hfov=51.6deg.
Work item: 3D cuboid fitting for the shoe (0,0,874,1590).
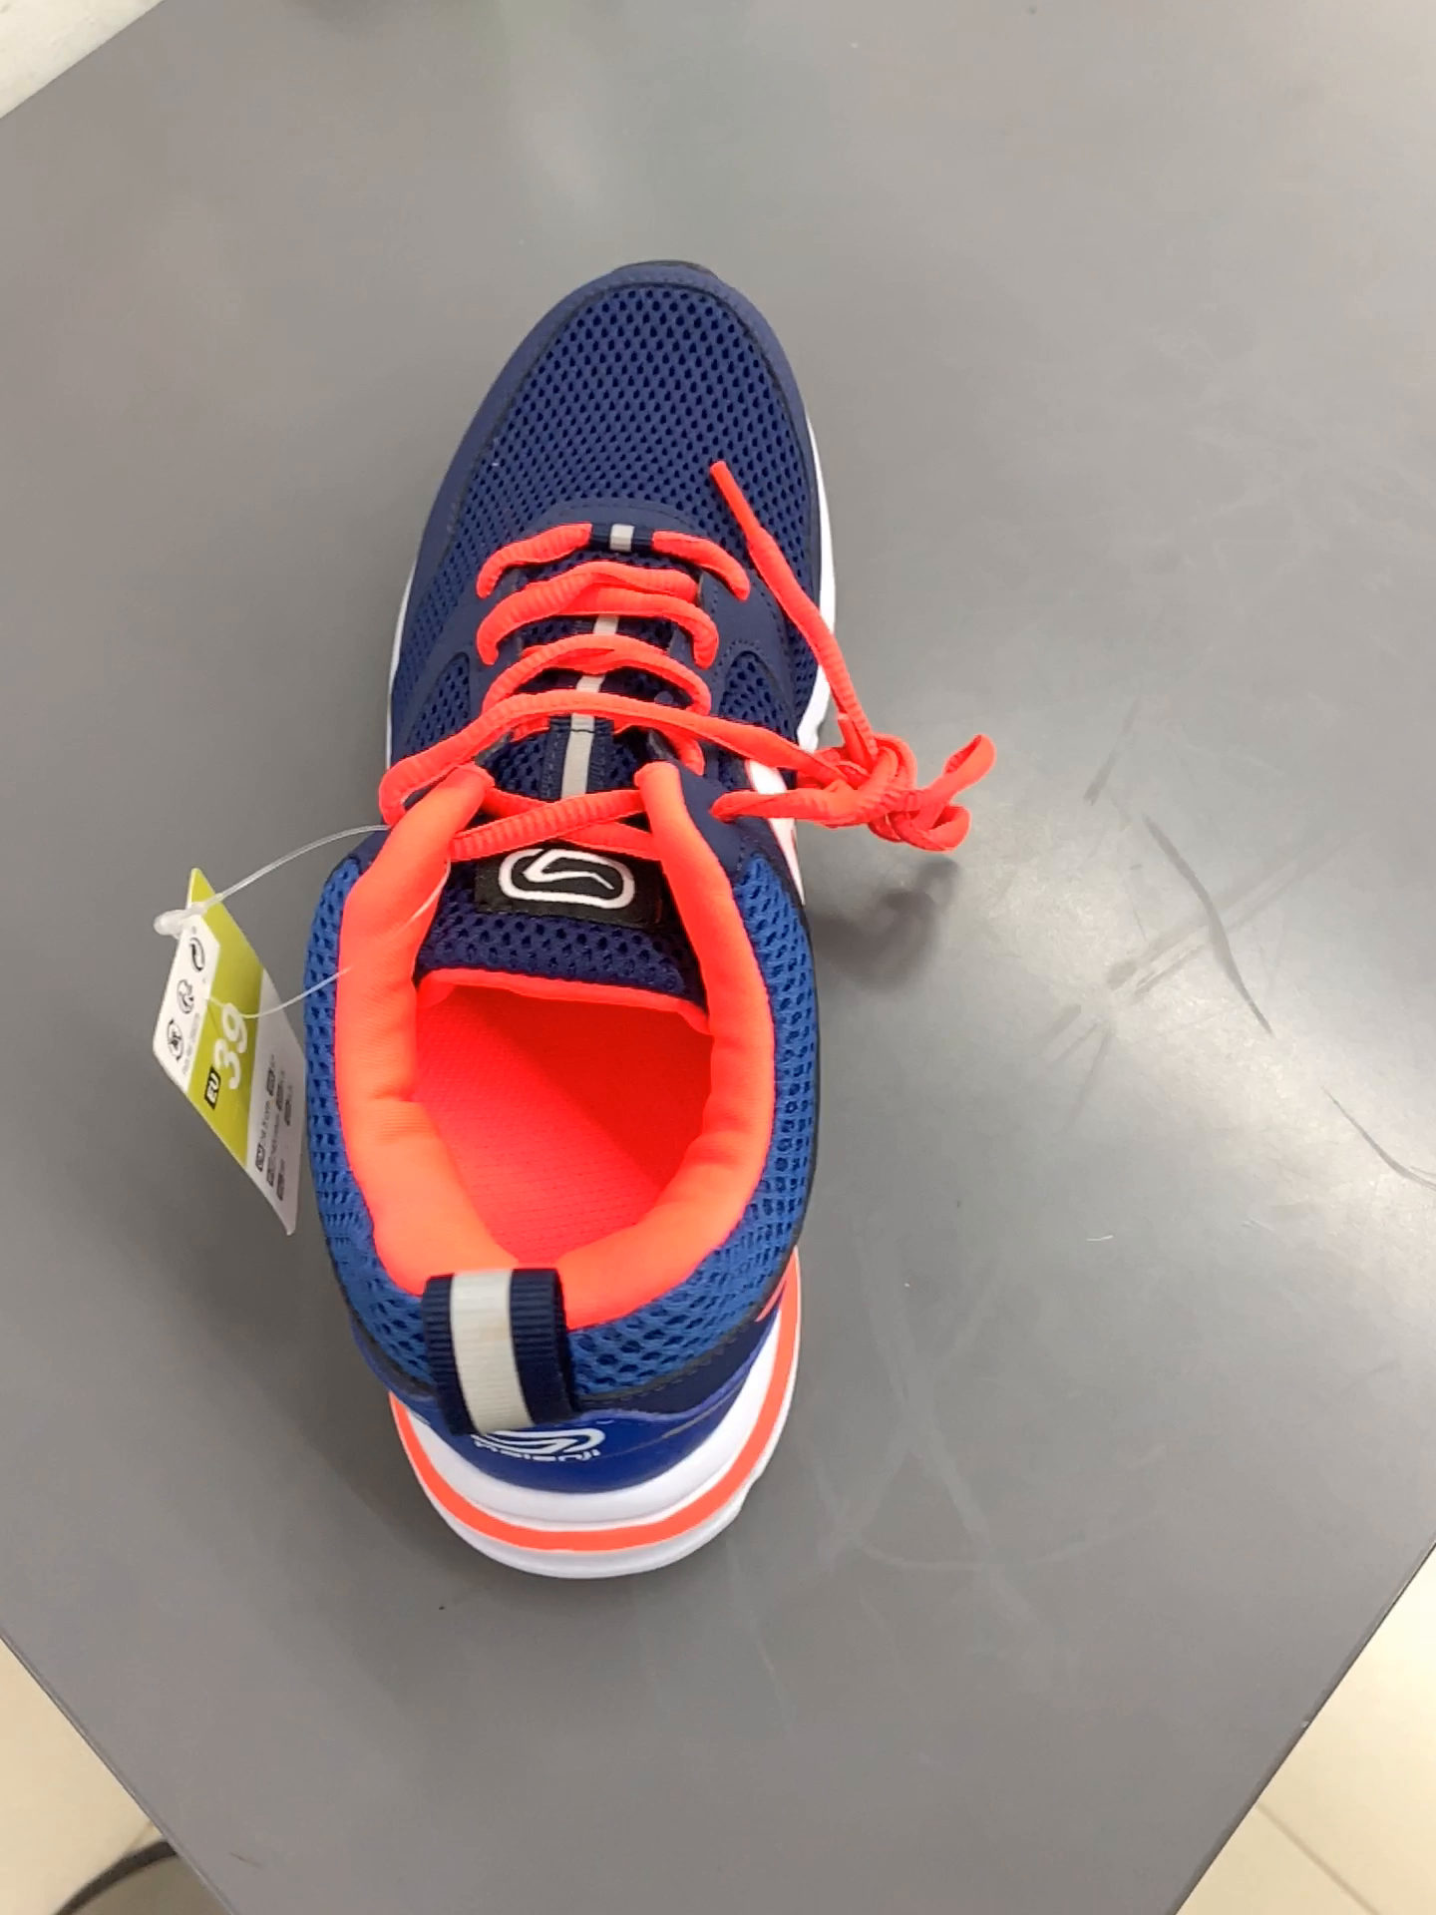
[{"bbox_3d":[-0.032,-0.041,0.286,0.110,0.140,0.290,0,70,3],"label":"shoe"}]
